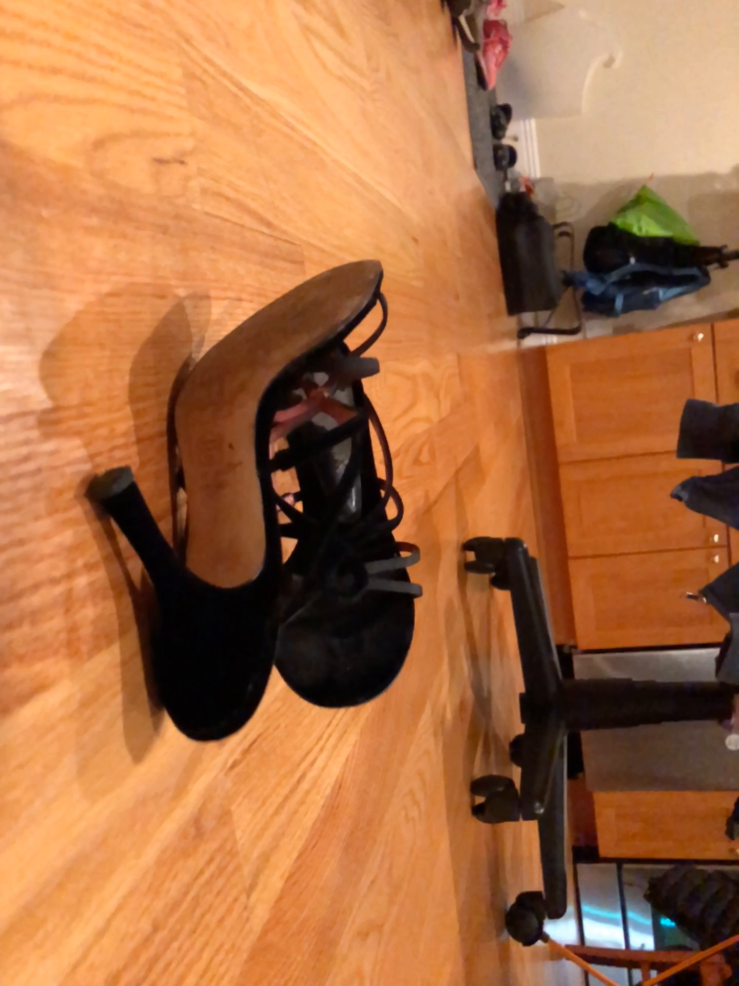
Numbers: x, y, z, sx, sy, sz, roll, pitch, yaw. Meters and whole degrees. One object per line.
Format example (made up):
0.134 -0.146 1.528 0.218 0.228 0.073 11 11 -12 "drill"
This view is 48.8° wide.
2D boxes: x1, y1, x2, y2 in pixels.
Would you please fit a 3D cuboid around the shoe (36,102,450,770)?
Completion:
-0.029 -0.026 0.307 0.082 0.104 0.236 65 24 -58 "shoe"

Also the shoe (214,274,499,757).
0.002 0.013 0.417 0.102 0.104 0.216 60 28 -58 "shoe"
